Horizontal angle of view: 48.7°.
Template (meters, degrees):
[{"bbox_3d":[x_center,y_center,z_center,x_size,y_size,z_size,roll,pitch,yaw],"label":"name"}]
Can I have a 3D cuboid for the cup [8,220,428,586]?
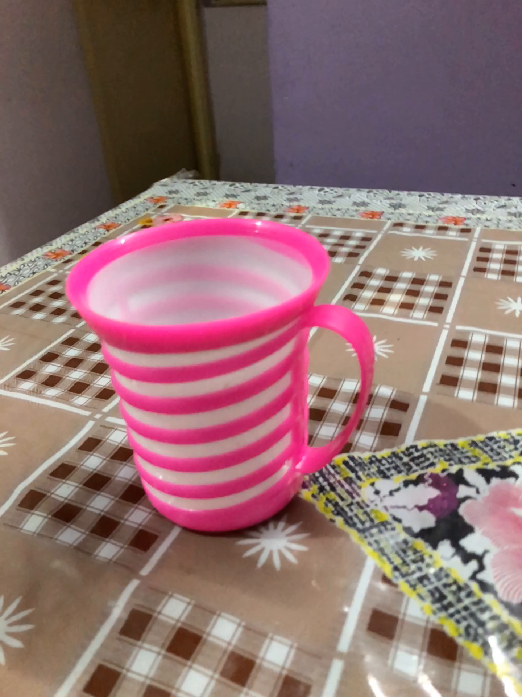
[{"bbox_3d":[-0.004,0.012,0.202,0.110,0.089,0.081,3,32,11],"label":"cup"}]
